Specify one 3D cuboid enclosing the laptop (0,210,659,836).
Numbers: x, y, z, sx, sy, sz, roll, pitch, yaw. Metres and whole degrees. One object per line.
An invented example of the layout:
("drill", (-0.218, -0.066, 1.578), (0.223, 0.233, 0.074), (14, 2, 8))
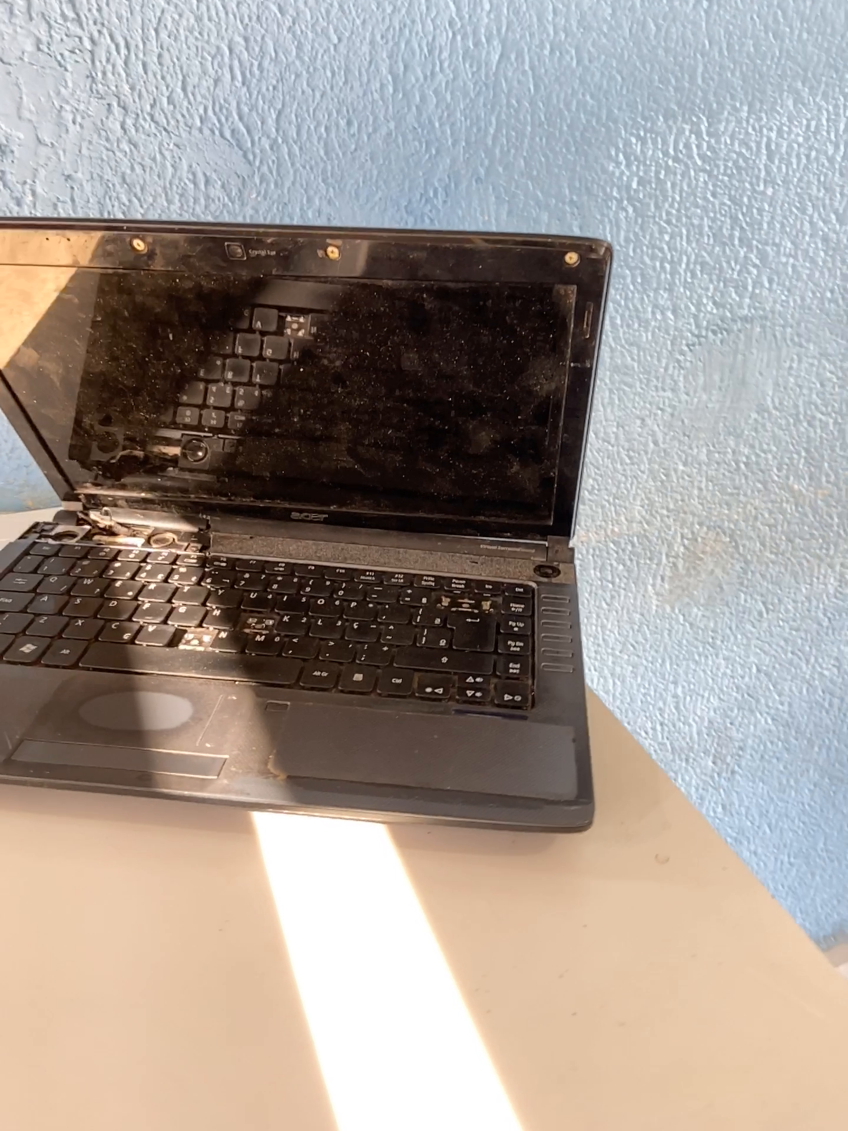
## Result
("laptop", (-0.087, -0.046, 0.411), (0.334, 0.182, 0.229), (4, 30, 6))
